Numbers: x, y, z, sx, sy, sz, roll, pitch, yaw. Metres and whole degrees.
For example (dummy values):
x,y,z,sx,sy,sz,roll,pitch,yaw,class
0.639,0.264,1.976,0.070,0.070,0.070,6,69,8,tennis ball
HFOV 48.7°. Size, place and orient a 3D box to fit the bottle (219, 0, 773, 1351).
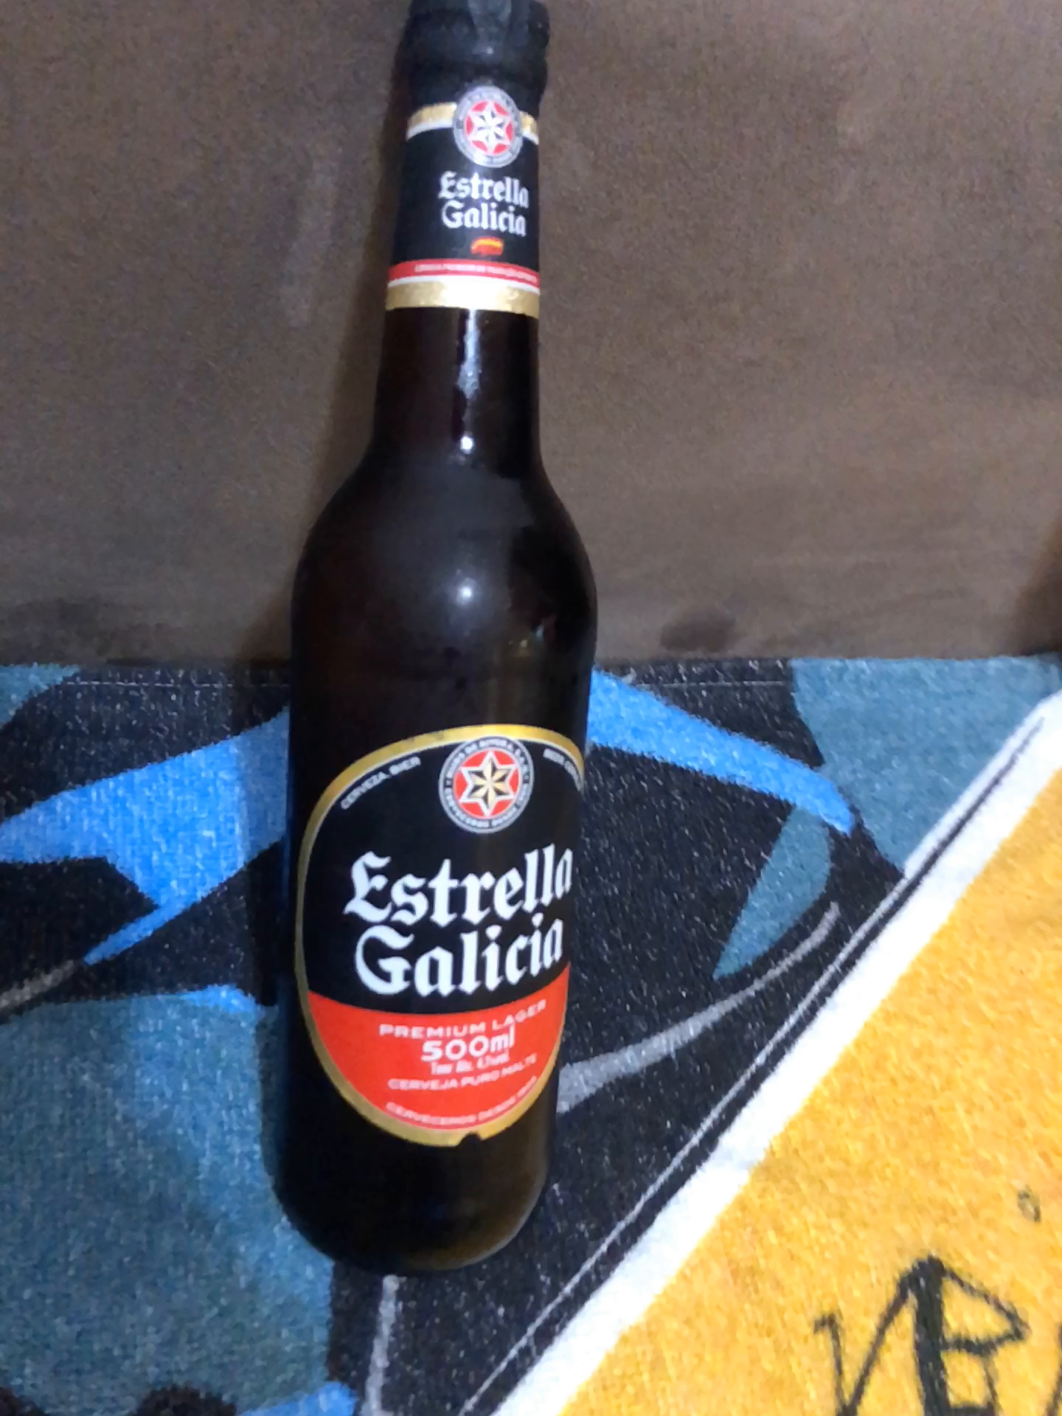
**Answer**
x,y,z,sx,sy,sz,roll,pitch,yaw,class
-0.019,-0.016,0.254,0.080,0.269,0.080,4,11,-1,bottle
